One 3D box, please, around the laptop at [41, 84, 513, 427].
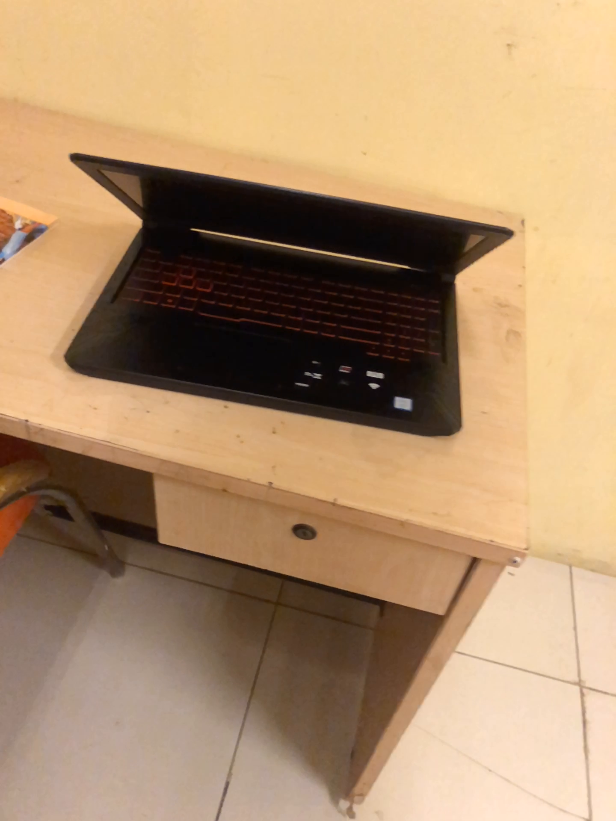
[{"bbox_3d":[-0.021,-0.163,0.675,0.369,0.173,0.253,10,44,0],"label":"laptop"}]
